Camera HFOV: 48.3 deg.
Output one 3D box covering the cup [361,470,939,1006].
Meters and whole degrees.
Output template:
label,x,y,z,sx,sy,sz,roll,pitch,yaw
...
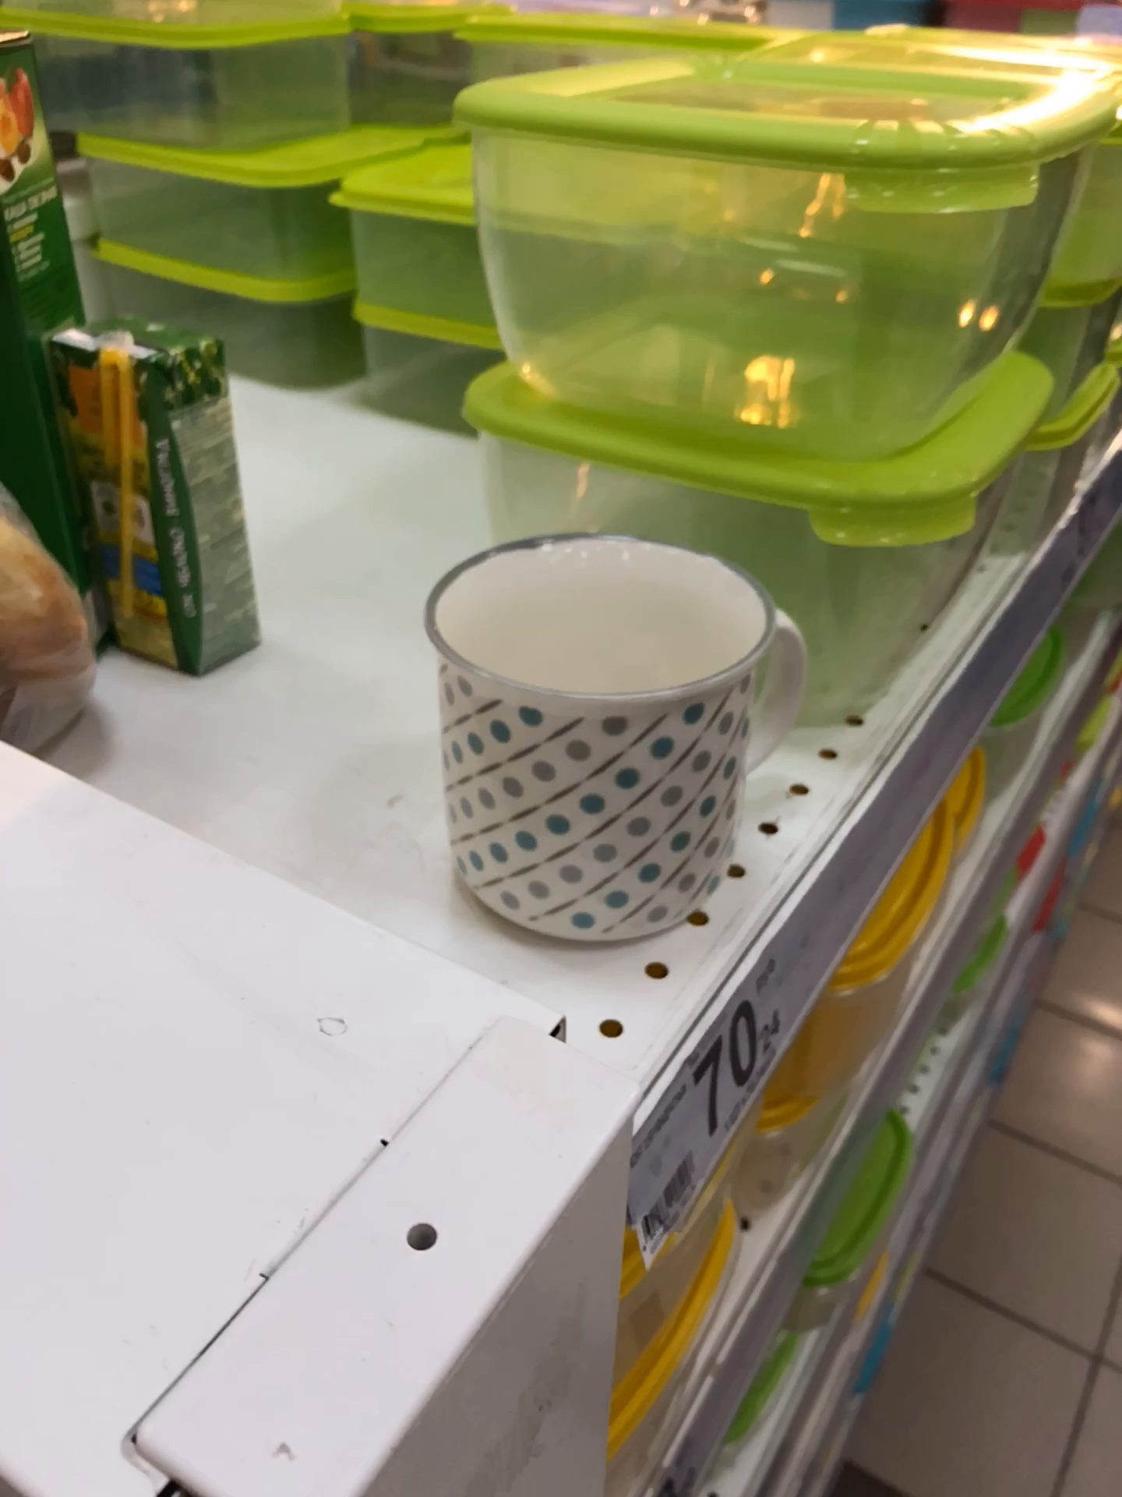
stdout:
label,x,y,z,sx,sy,sz,roll,pitch,yaw
cup,0.025,-0.012,0.364,0.128,0.082,0.096,-26,43,-34
